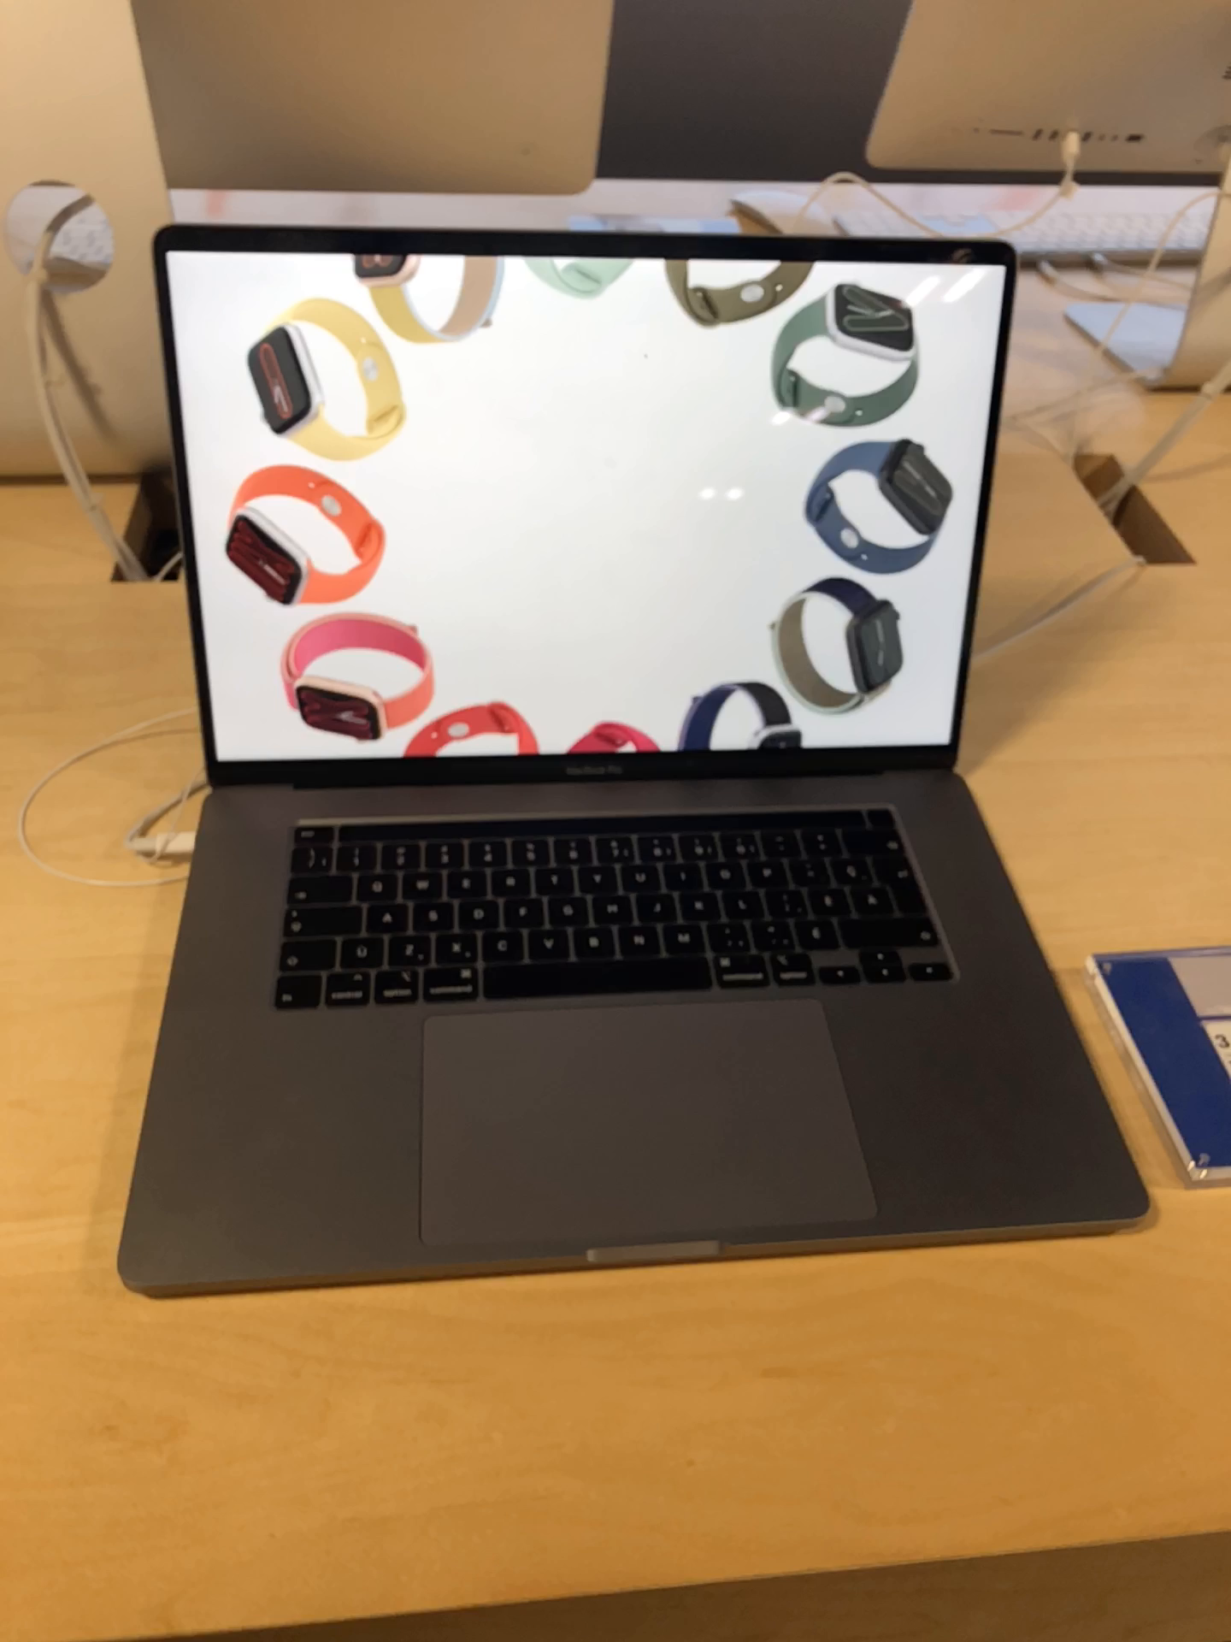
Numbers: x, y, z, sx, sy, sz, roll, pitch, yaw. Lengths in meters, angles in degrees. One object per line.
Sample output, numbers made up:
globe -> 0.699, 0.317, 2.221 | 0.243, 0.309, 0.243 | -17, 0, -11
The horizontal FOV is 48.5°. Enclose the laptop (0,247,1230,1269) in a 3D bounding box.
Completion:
laptop -> 0.004, -0.043, 0.519 | 0.352, 0.230, 0.316 | -2, 42, -6
